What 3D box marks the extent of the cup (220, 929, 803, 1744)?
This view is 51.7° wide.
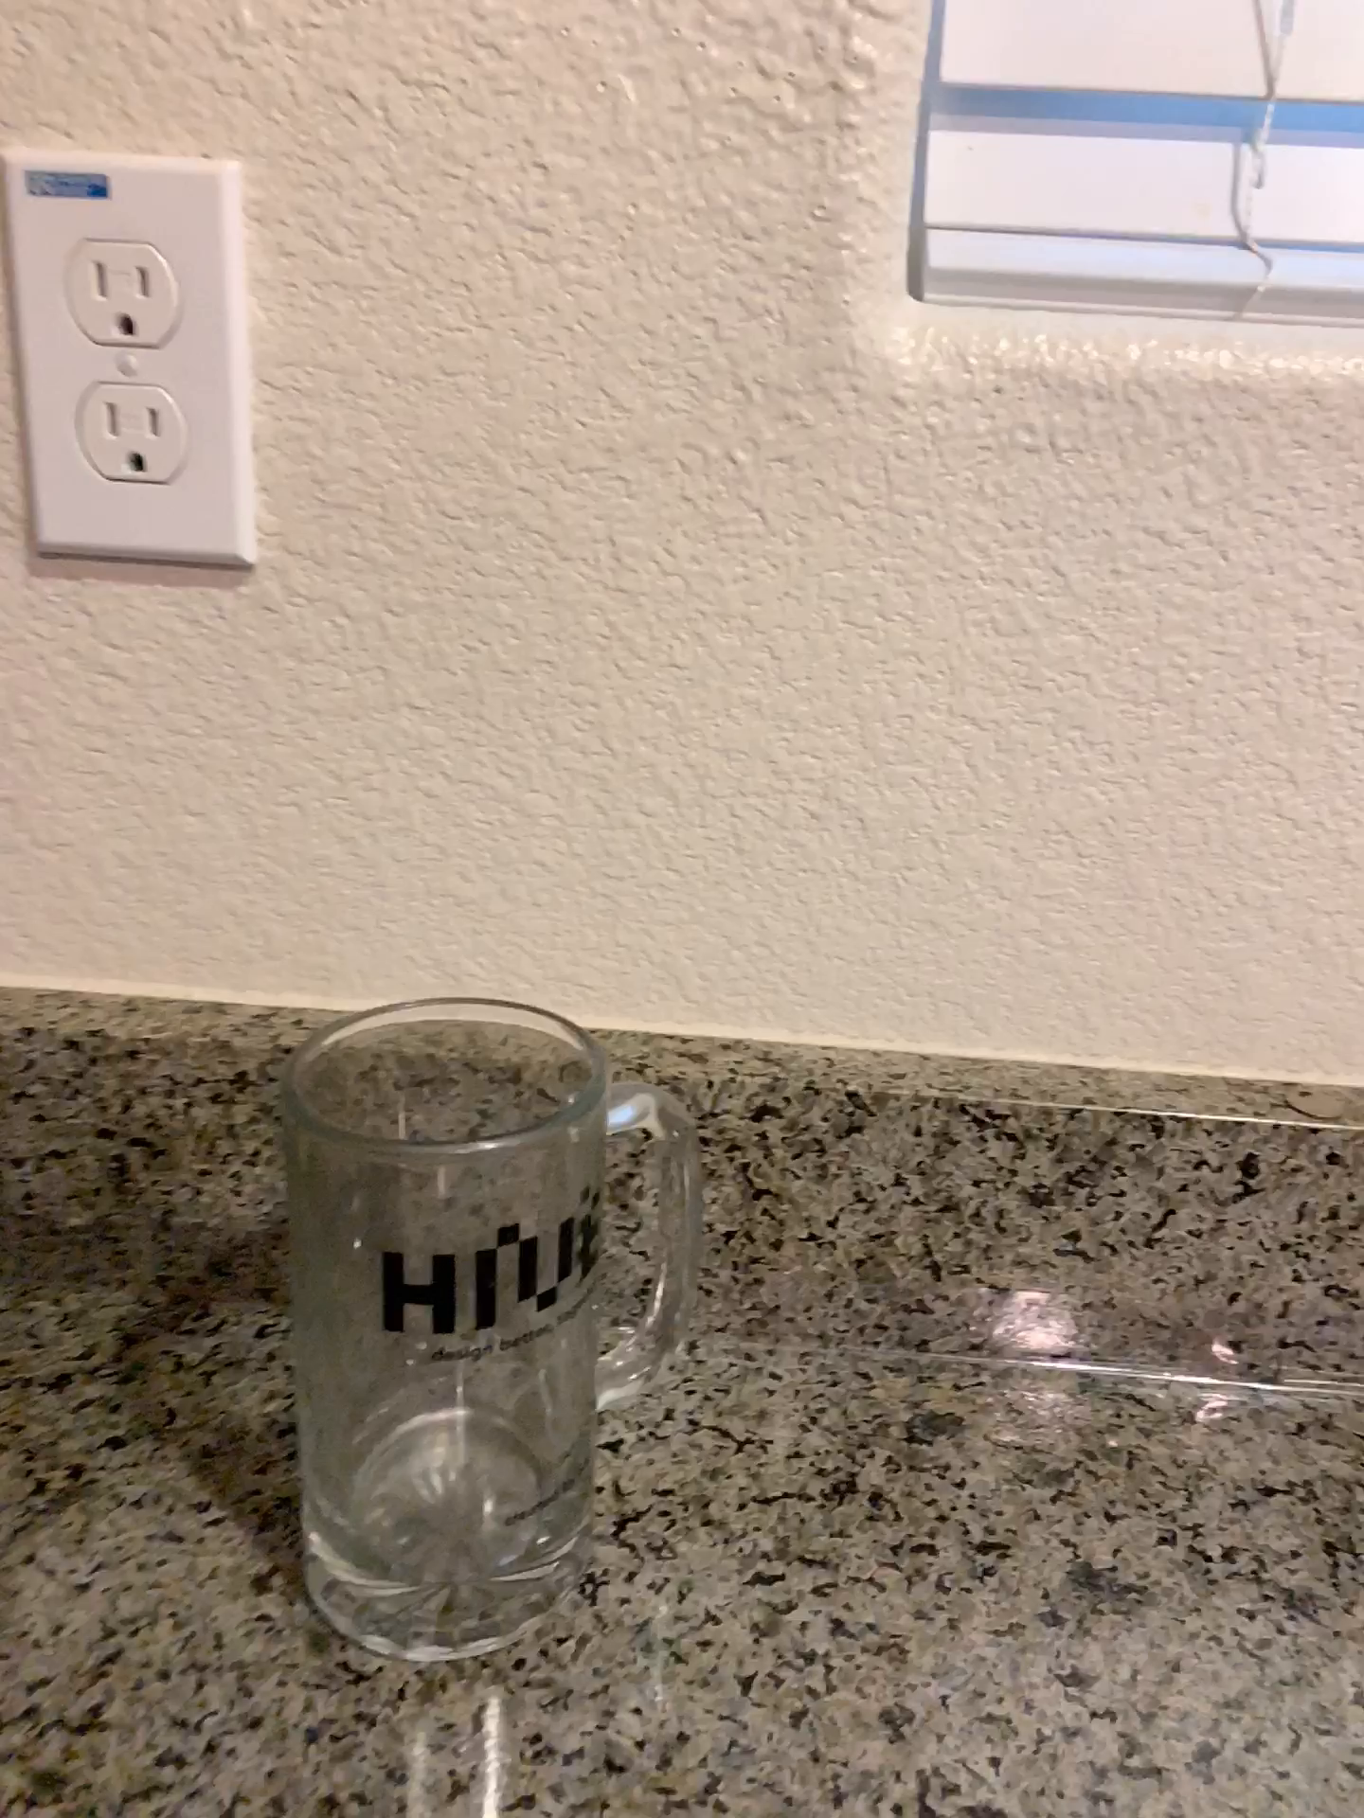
[{"bbox_3d":[-0.046,0.104,0.377,0.120,0.159,0.080,-12,25,-36],"label":"cup"}]
